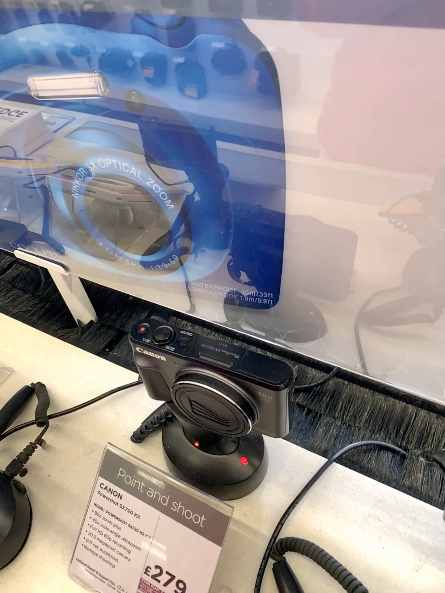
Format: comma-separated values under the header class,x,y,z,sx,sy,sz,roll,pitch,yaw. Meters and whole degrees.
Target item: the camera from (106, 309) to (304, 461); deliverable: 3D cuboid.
class,x,y,z,sx,sy,sz,roll,pitch,yaw
camera,-0.009,0.054,0.283,0.113,0.061,0.031,16,51,22
